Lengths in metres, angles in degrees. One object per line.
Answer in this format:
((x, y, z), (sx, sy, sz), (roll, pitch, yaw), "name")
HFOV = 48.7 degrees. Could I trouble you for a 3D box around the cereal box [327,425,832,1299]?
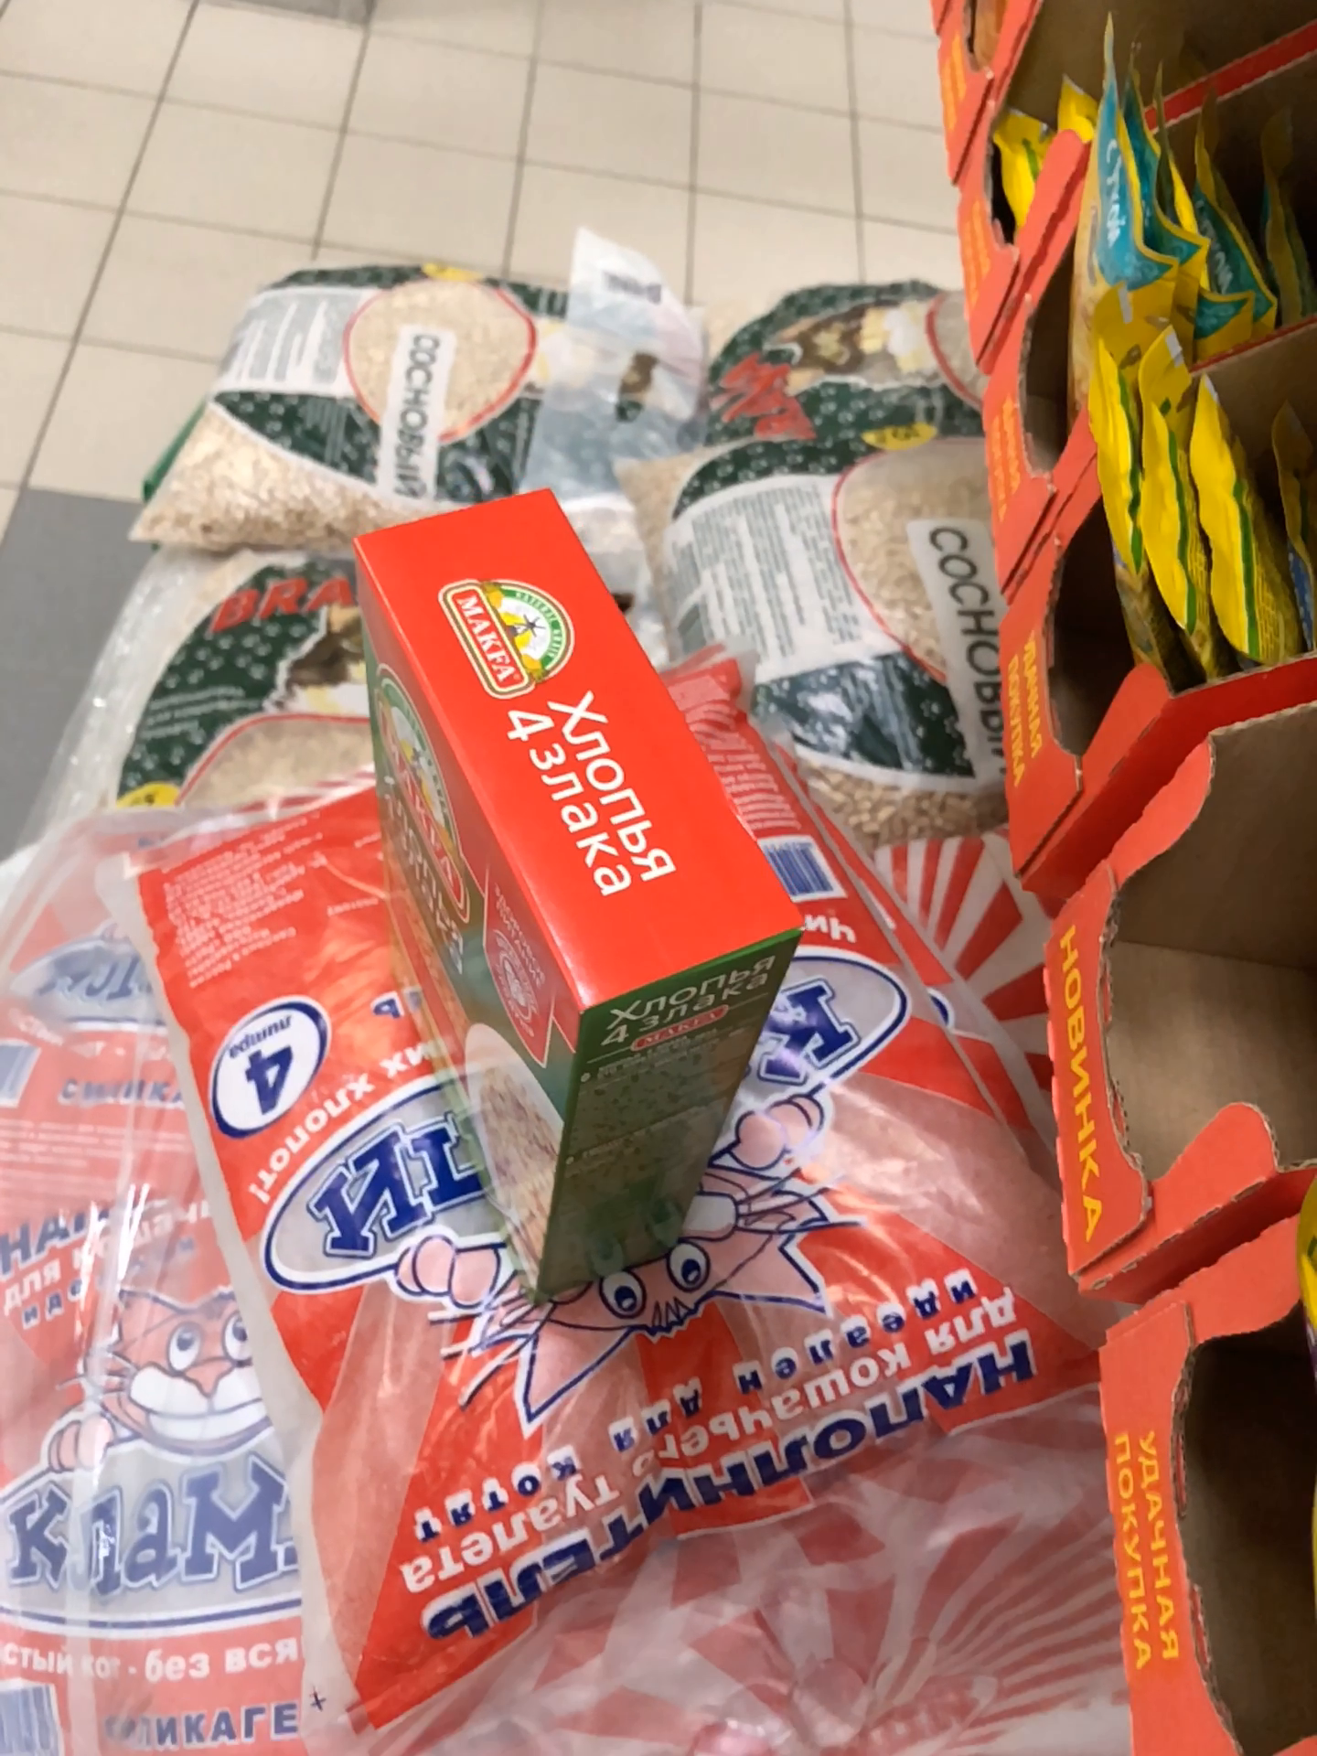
((-0.033, 0.013, 0.397), (0.050, 0.219, 0.140), (-21, 65, -19), "cereal box")
